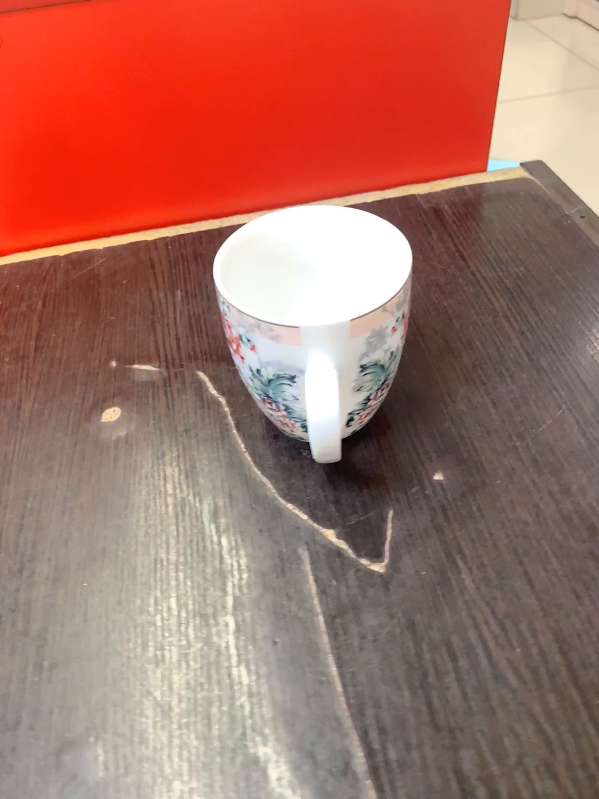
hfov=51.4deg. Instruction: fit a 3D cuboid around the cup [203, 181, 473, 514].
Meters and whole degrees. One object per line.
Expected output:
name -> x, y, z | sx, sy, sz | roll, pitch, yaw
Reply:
cup -> 0.011, -0.024, 0.248 | 0.080, 0.070, 0.110 | -5, 46, 1
